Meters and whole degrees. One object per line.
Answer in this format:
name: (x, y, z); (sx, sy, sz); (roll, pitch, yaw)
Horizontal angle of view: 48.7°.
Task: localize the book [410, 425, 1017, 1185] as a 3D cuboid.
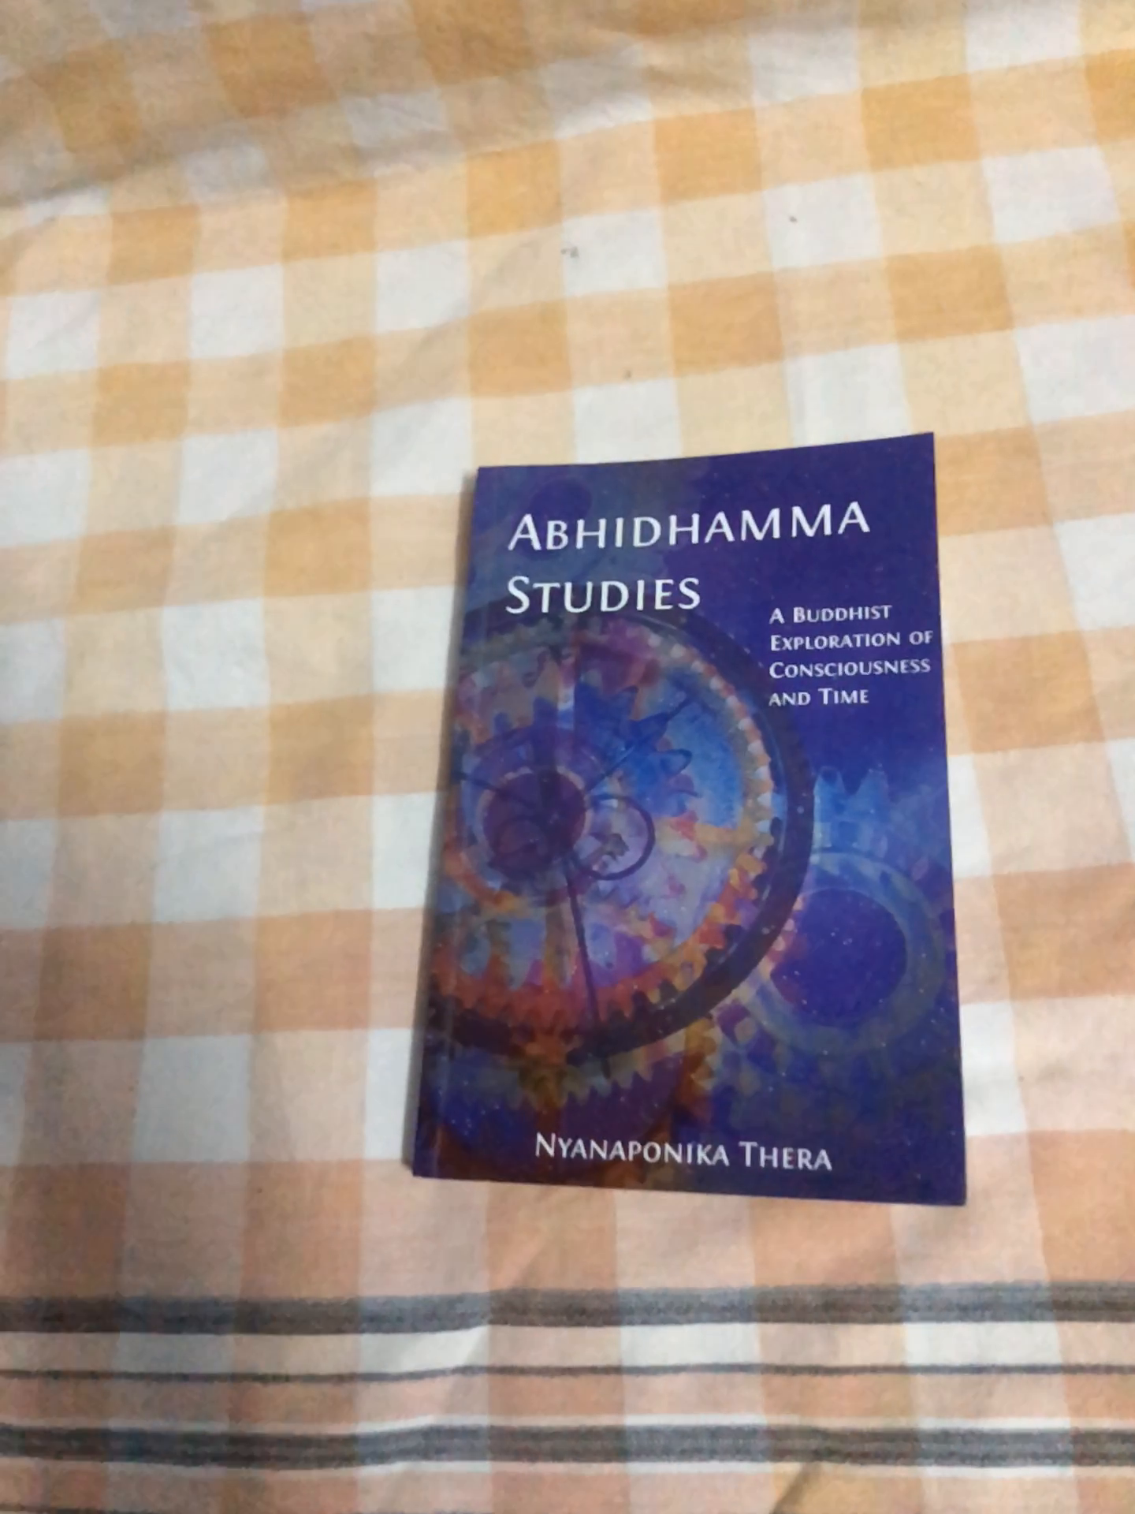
book: (0.040, 0.006, 0.355); (0.150, 0.020, 0.210); (-1, 71, 11)
